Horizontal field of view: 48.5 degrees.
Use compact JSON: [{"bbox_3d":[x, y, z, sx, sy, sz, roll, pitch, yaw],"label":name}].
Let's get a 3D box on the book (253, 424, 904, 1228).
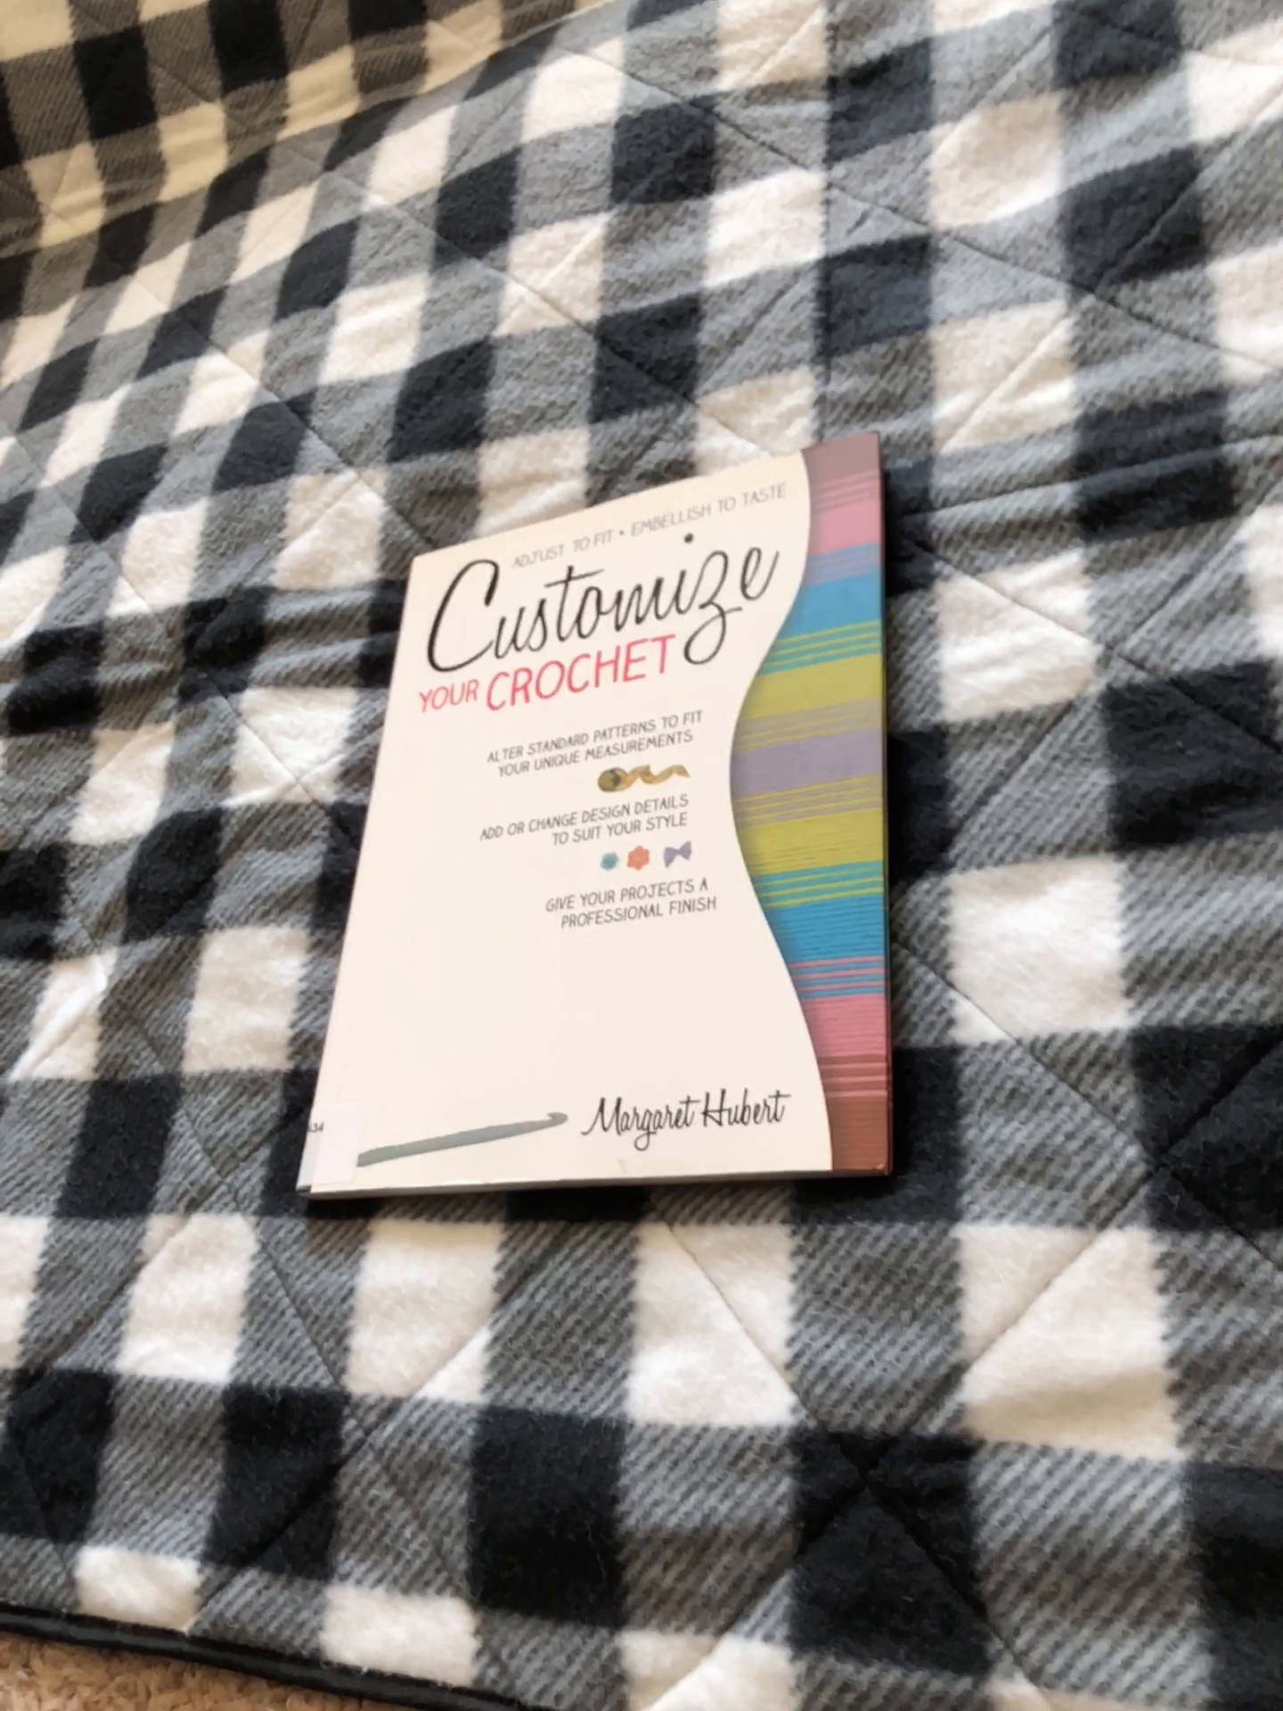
[{"bbox_3d":[-0.014,-0.011,0.432,0.186,0.020,0.238,-8,60,25],"label":"book"}]
